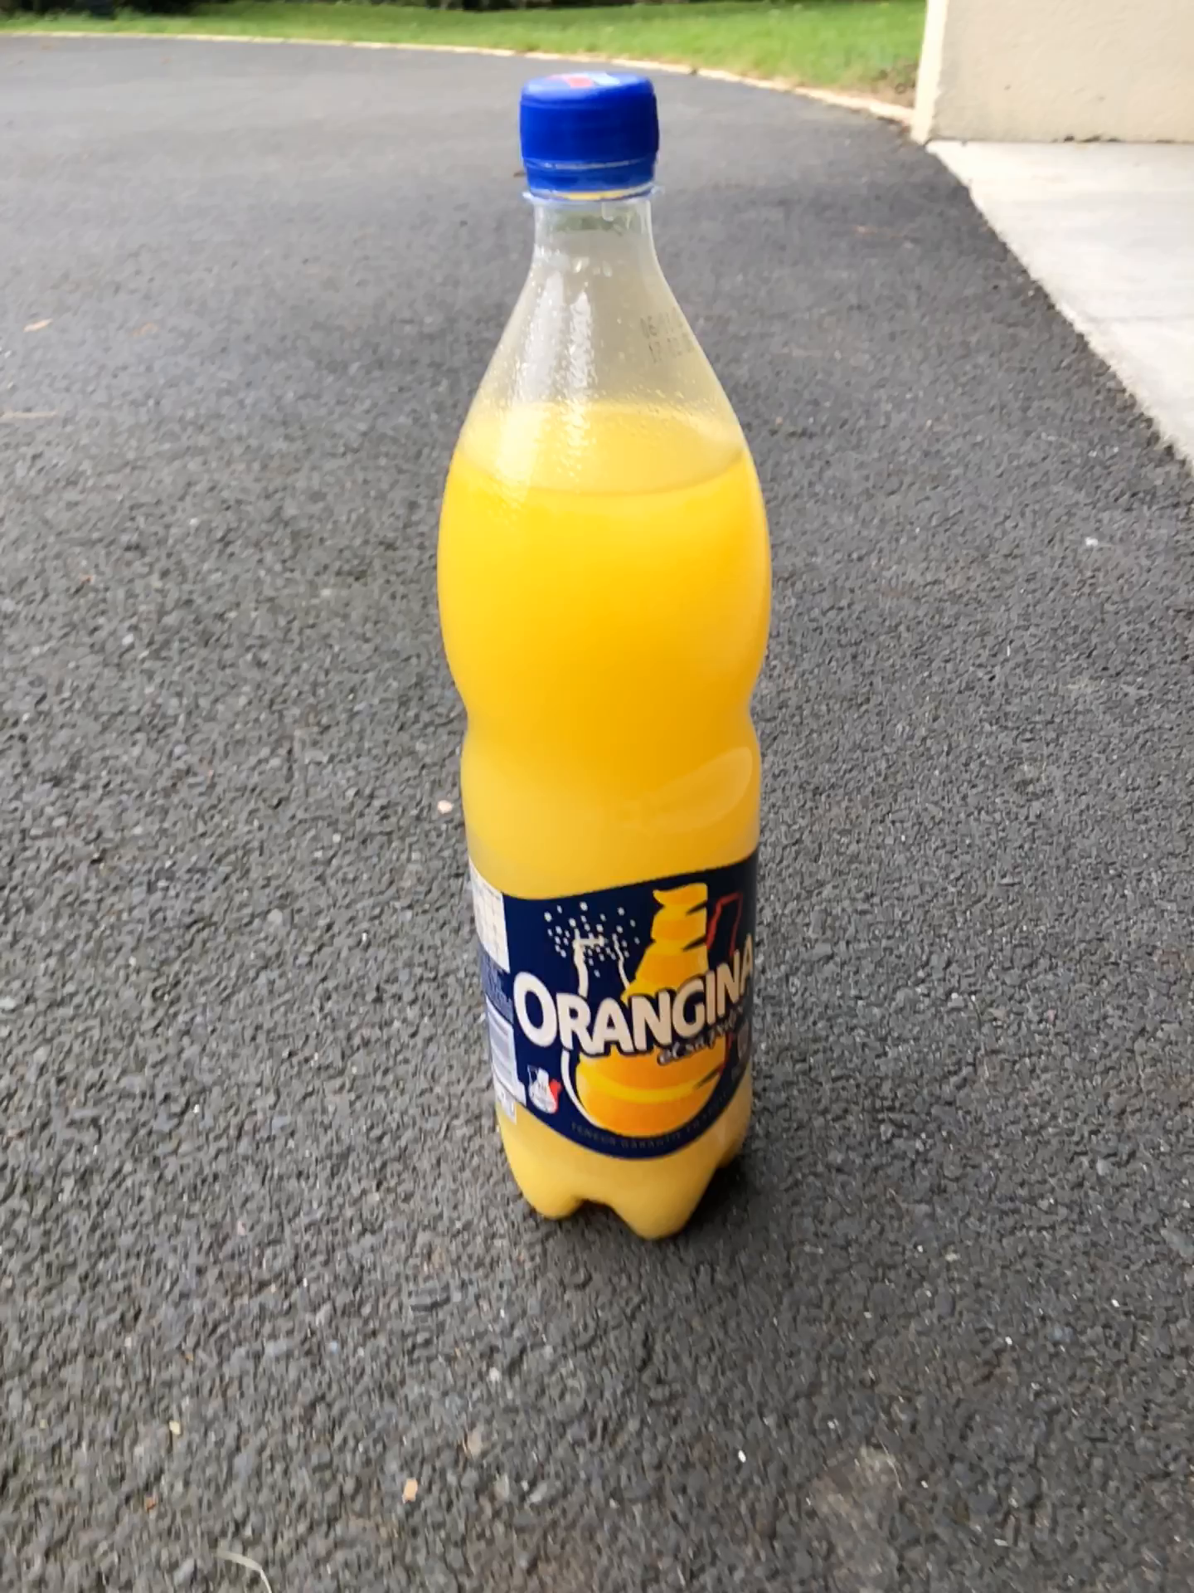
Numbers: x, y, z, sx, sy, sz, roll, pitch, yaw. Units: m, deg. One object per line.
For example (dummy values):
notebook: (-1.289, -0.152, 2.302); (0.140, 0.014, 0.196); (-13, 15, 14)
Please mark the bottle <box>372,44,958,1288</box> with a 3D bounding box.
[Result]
bottle: (0.006, -0.020, 0.380); (0.100, 0.338, 0.100); (1, 33, -1)
